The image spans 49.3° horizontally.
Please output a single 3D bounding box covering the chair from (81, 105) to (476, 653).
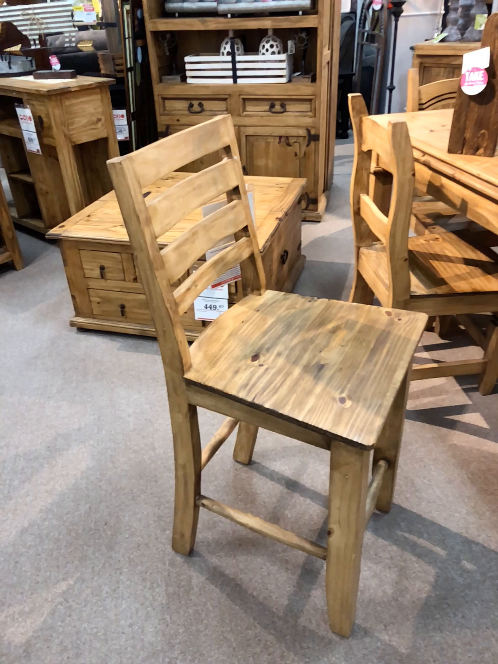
[{"bbox_3d":[0.098,0.100,1.190,0.521,1.013,0.472,13,36,23],"label":"chair"}]
